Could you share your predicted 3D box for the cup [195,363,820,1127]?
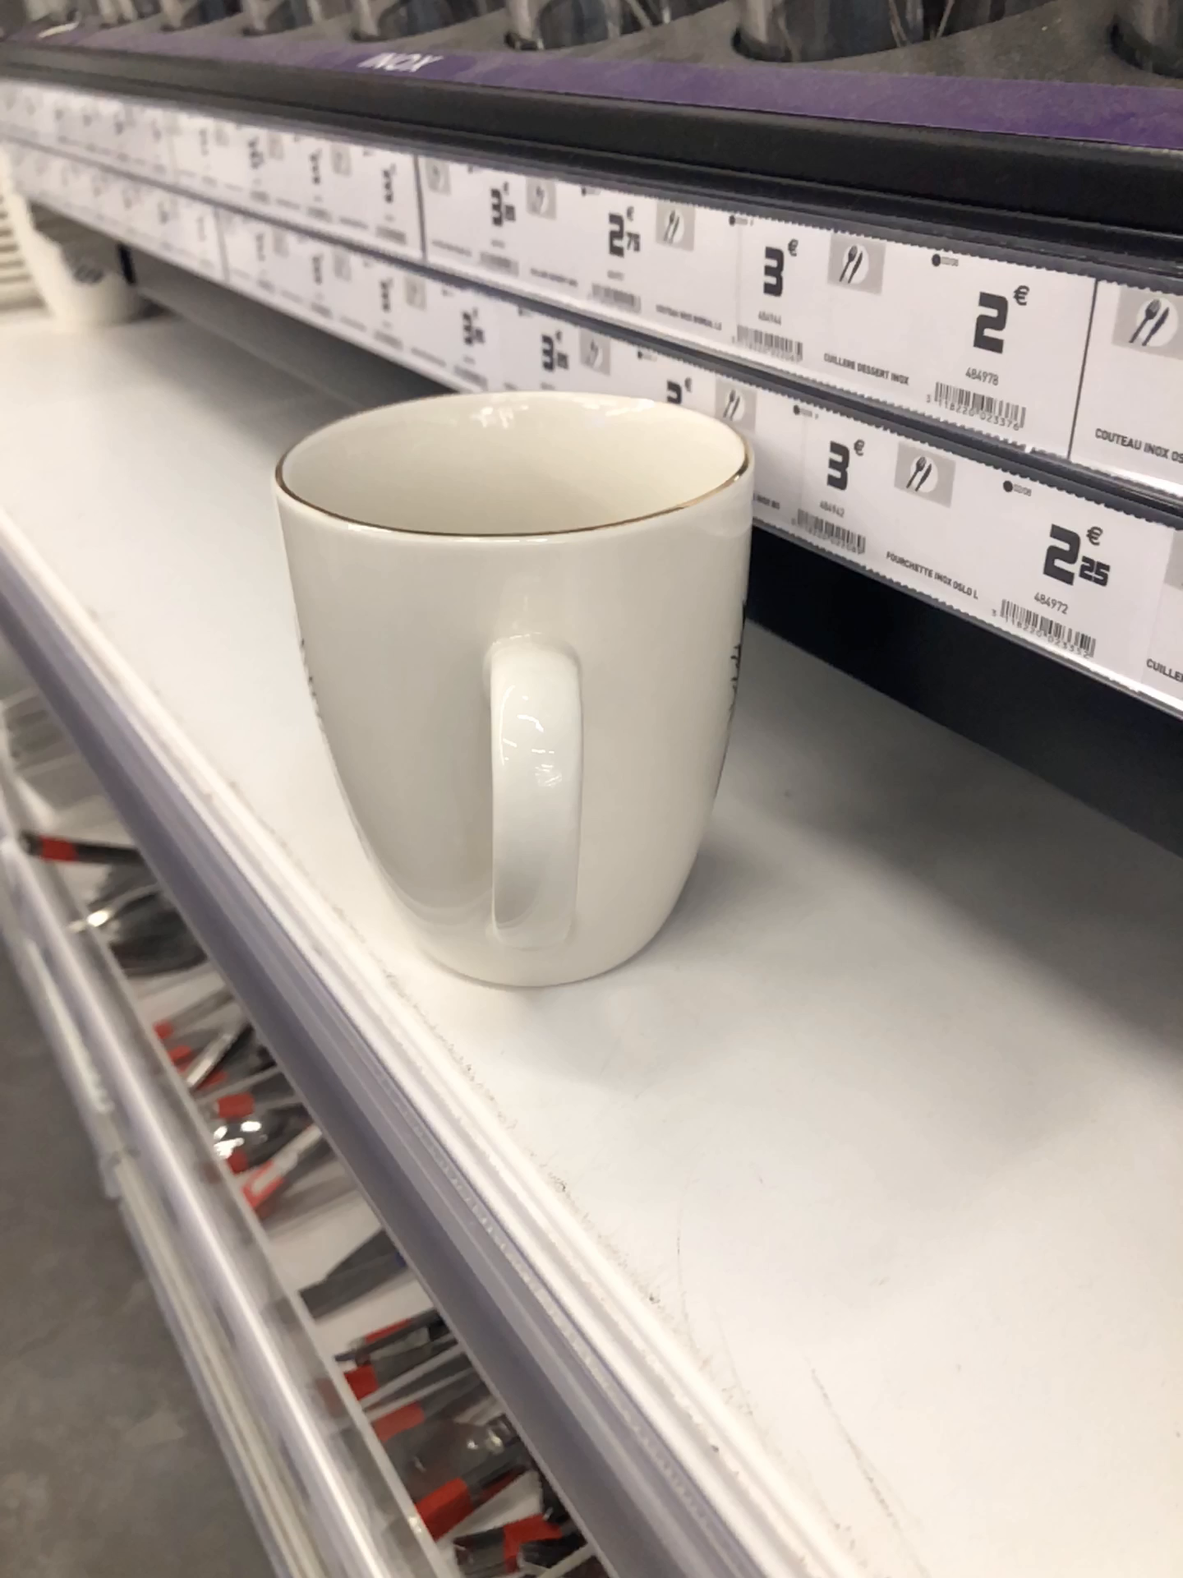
[{"bbox_3d":[-0.011,-0.016,0.246,0.082,0.093,0.115,-4,31,-1],"label":"cup"}]
